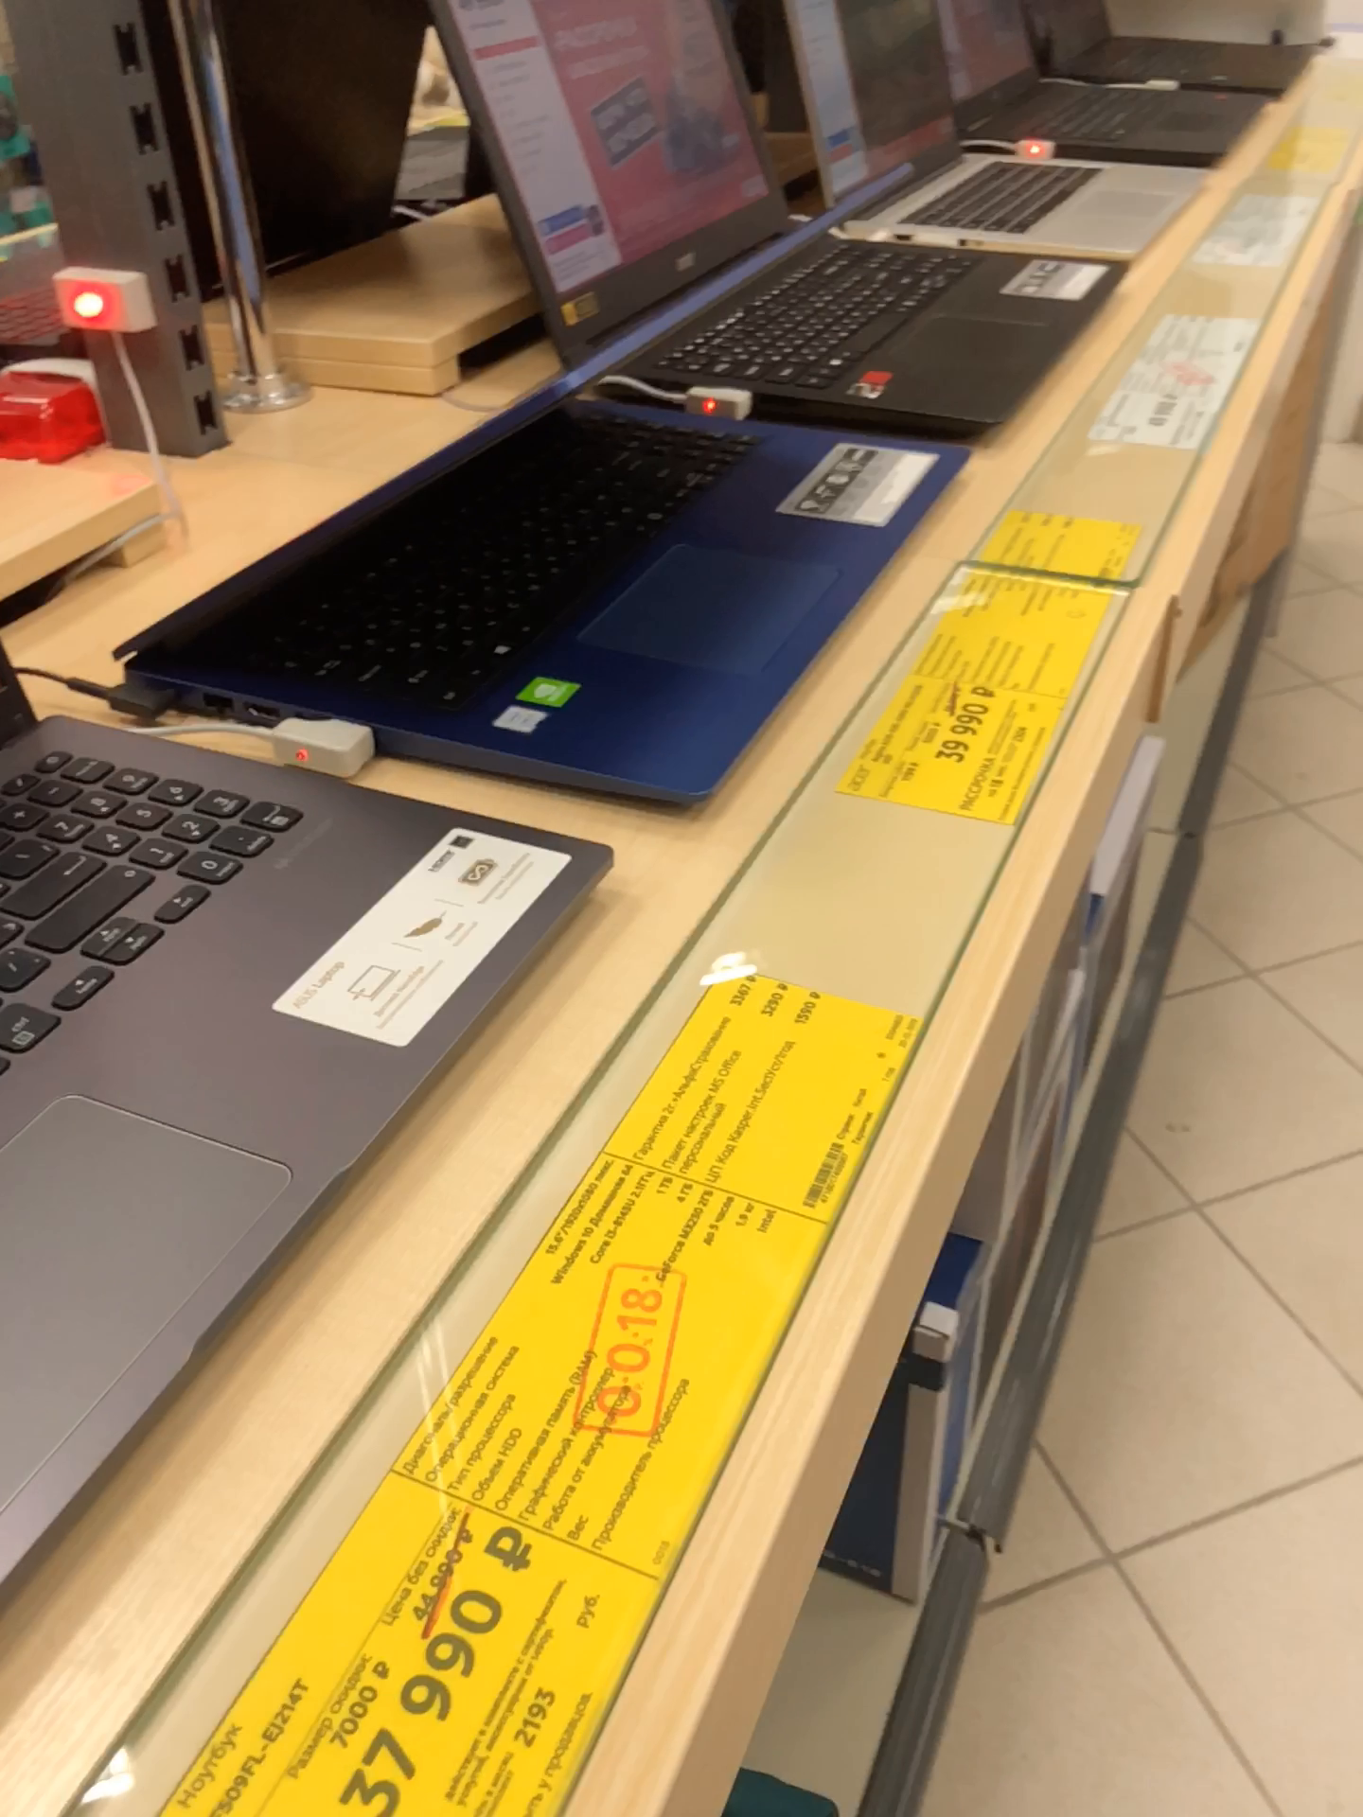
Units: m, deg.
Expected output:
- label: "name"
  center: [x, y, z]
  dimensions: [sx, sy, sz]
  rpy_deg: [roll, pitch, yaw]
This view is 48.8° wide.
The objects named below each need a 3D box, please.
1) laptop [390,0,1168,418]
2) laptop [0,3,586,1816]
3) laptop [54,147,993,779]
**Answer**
- label: "laptop"
  center: [0.078, -0.505, 0.946]
  dimensions: [0.354, 0.226, 0.359]
  rpy_deg: [15, 39, 21]
- label: "laptop"
  center: [-0.245, -0.043, 0.315]
  dimensions: [0.302, 0.206, 0.392]
  rpy_deg: [15, 37, 18]
- label: "laptop"
  center: [-0.034, -0.226, 0.660]
  dimensions: [0.245, 0.126, 0.369]
  rpy_deg: [14, 38, 19]
